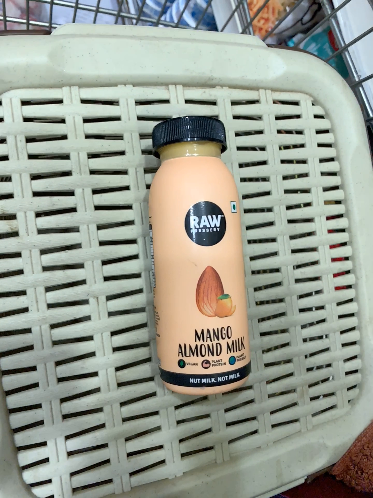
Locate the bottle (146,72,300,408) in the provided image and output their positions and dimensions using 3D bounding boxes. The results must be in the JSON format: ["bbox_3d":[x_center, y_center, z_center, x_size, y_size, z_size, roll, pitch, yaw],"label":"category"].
[{"bbox_3d":[0.017,-0.005,0.203,0.060,0.040,0.150,-3,89,-22],"label":"bottle"}]
